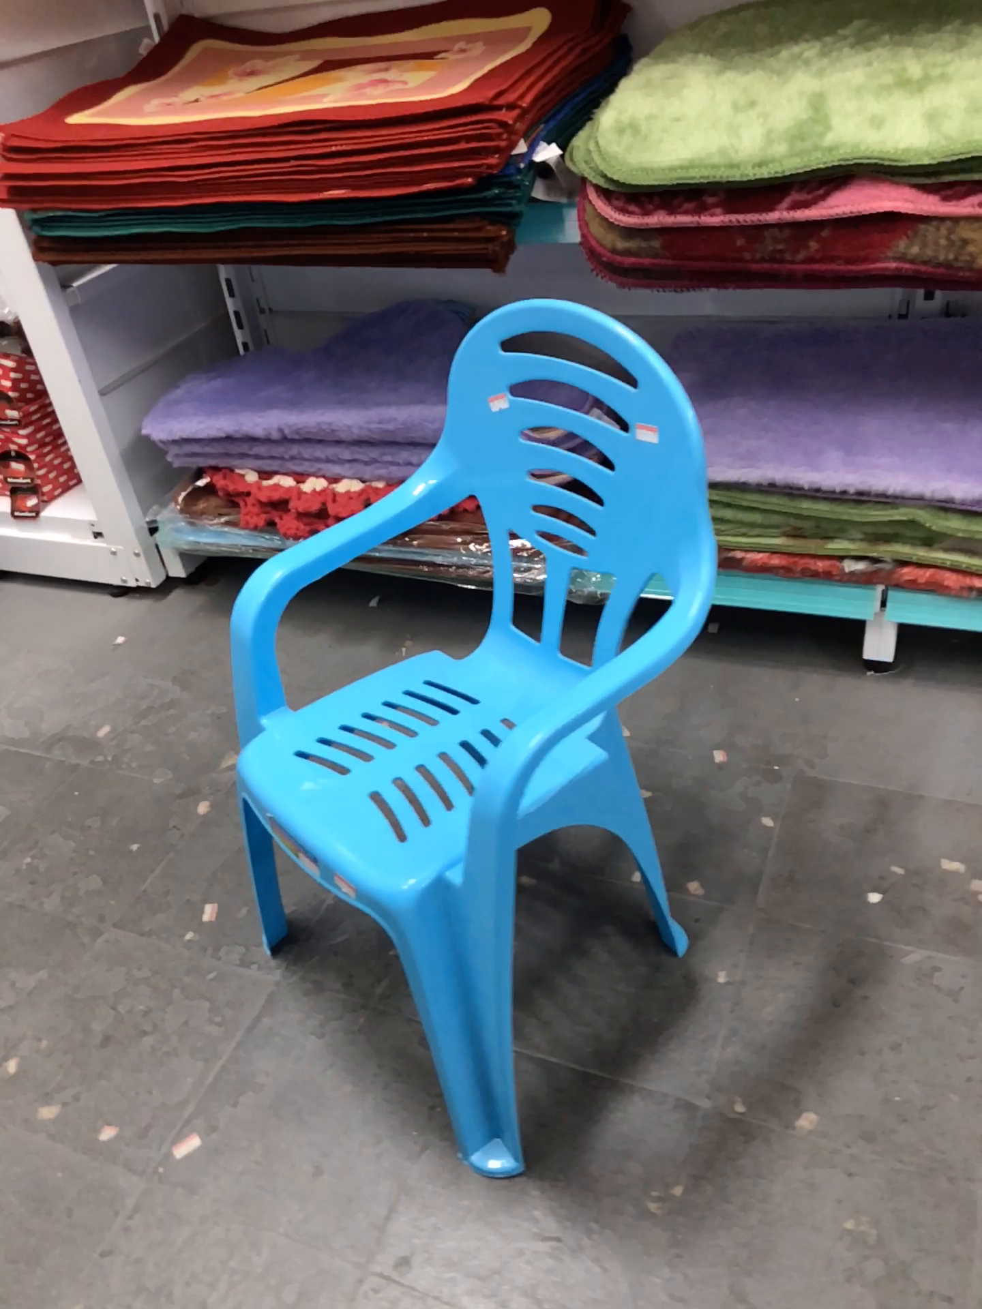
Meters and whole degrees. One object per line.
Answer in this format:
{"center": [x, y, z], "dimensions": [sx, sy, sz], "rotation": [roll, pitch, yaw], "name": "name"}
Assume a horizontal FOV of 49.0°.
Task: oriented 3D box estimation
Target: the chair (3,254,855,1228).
{"center": [-0.022, 0.033, 0.842], "dimensions": [0.391, 0.516, 0.402], "rotation": [-32, 41, -28], "name": "chair"}
